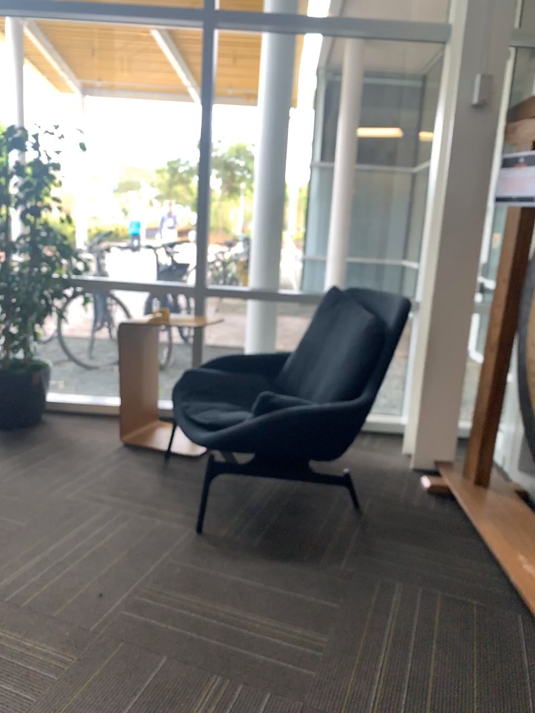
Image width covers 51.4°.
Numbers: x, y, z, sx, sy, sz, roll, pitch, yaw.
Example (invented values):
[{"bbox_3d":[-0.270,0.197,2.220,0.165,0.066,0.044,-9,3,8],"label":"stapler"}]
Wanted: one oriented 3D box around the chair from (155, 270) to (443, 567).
[{"bbox_3d":[0.051,0.170,2.501,0.940,0.997,0.903,-1,13,-21],"label":"chair"}]
